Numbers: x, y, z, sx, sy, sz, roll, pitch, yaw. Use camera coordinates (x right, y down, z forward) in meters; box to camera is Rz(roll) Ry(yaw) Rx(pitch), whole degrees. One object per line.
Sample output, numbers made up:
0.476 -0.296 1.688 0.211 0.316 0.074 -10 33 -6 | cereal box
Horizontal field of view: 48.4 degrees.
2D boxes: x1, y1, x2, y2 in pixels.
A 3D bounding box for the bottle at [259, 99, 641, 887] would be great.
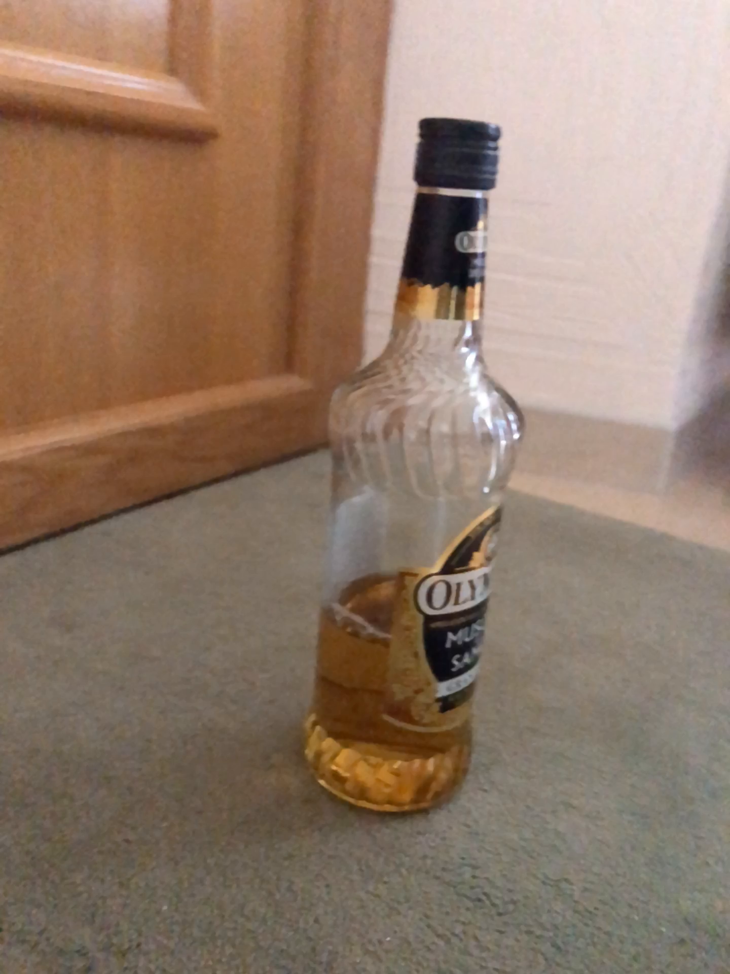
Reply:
0.027 0.004 0.339 0.090 0.289 0.091 5 20 -2 | bottle
